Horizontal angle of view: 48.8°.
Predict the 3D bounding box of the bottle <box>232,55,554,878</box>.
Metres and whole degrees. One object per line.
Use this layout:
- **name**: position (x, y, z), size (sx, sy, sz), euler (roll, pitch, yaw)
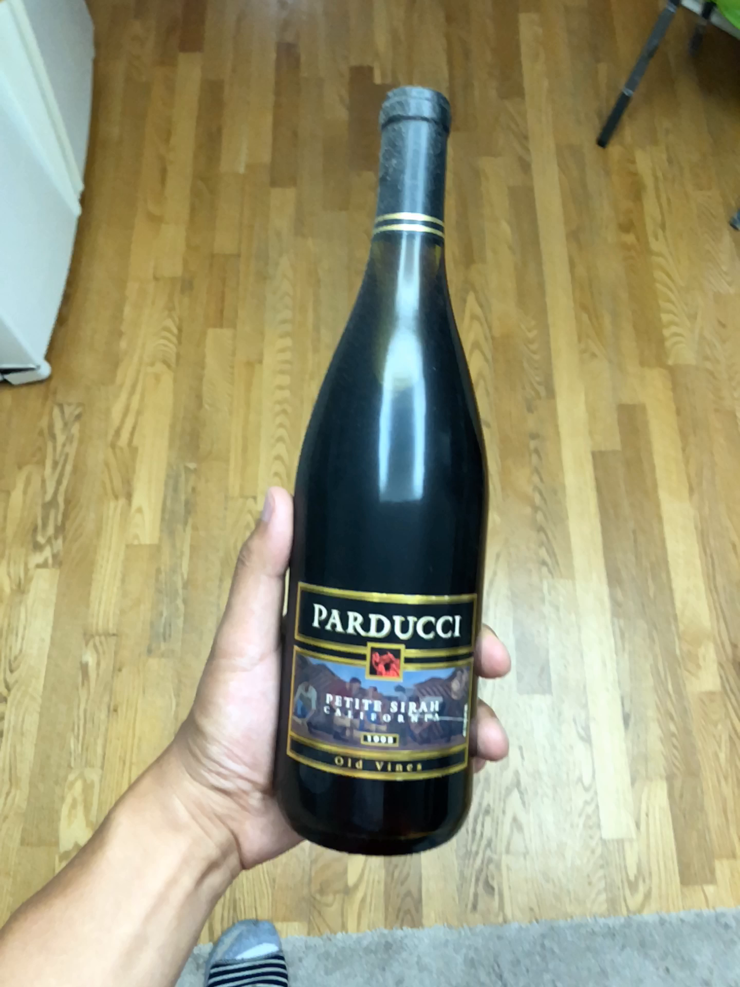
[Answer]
- **bottle**: position (0.006, -0.006, 0.318), size (0.090, 0.070, 0.280), euler (4, 95, 0)
